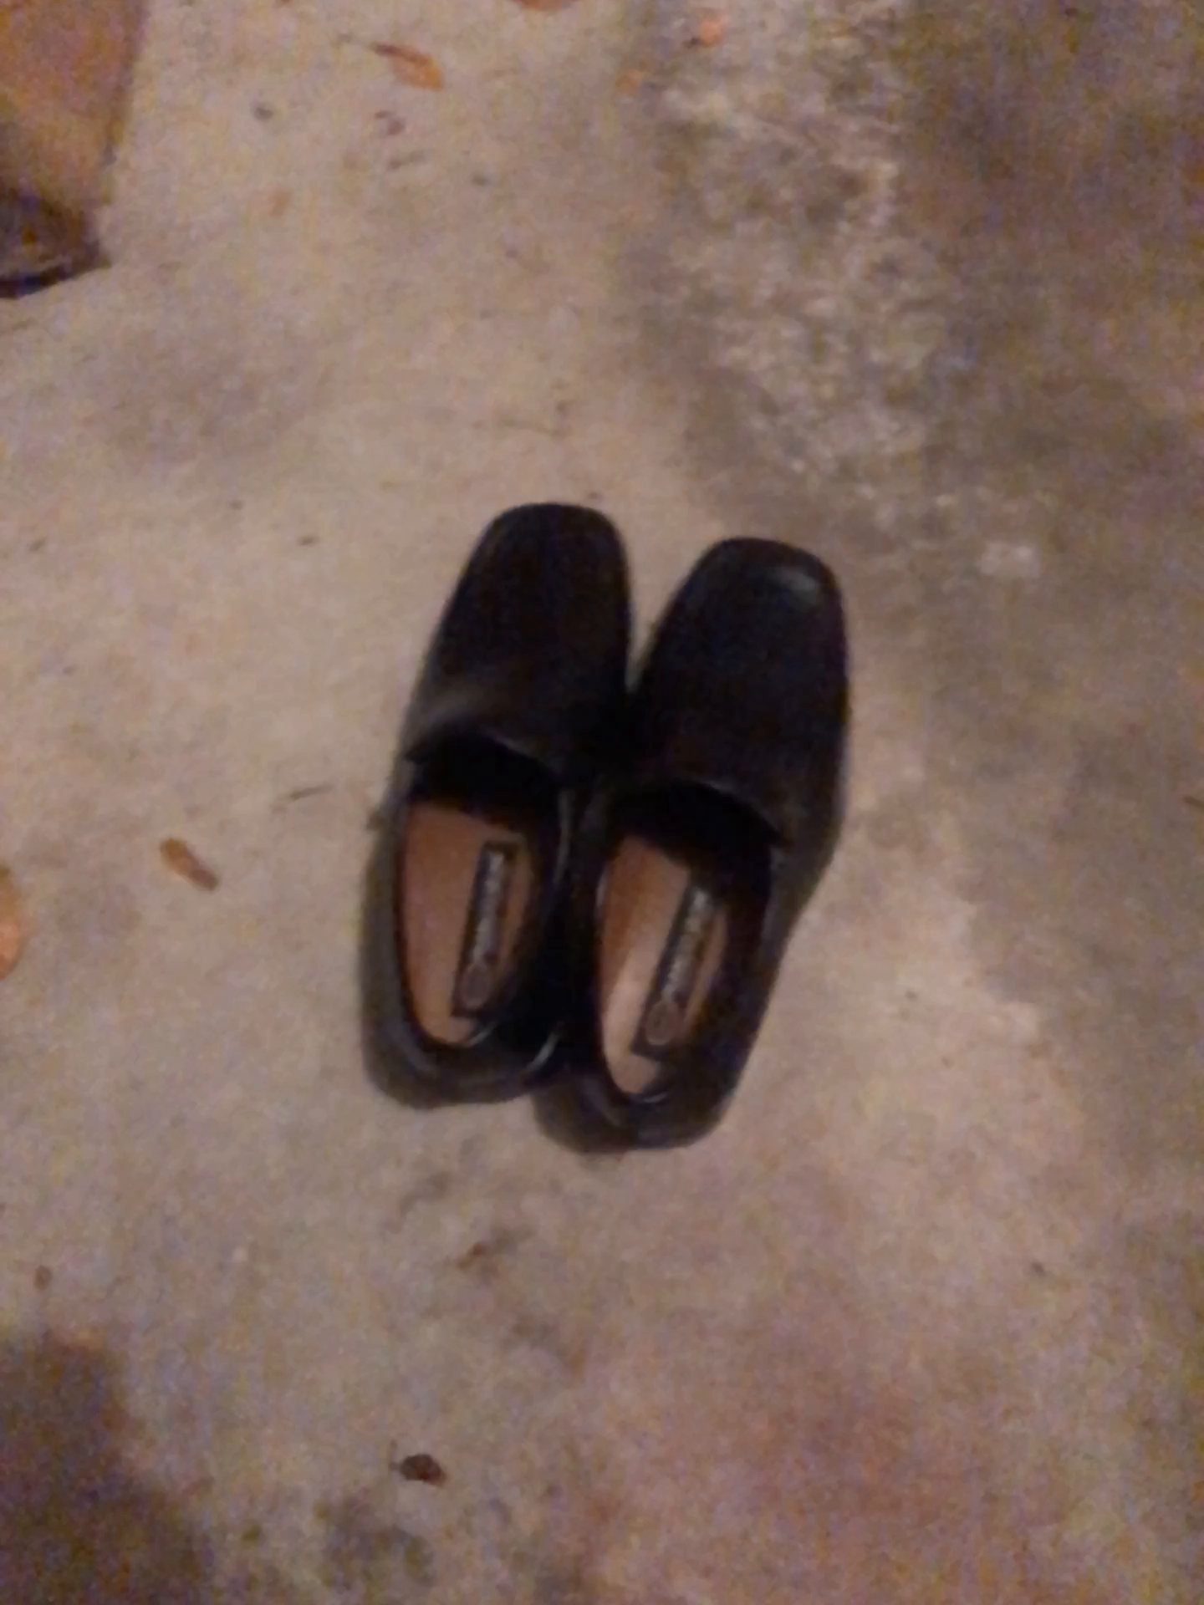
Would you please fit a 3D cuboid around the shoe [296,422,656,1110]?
[{"bbox_3d":[-0.043,-0.013,0.581,0.104,0.113,0.269,5,75,6],"label":"shoe"}]

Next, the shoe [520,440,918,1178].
[{"bbox_3d":[0.054,0.006,0.569,0.101,0.113,0.279,11,75,8],"label":"shoe"}]
